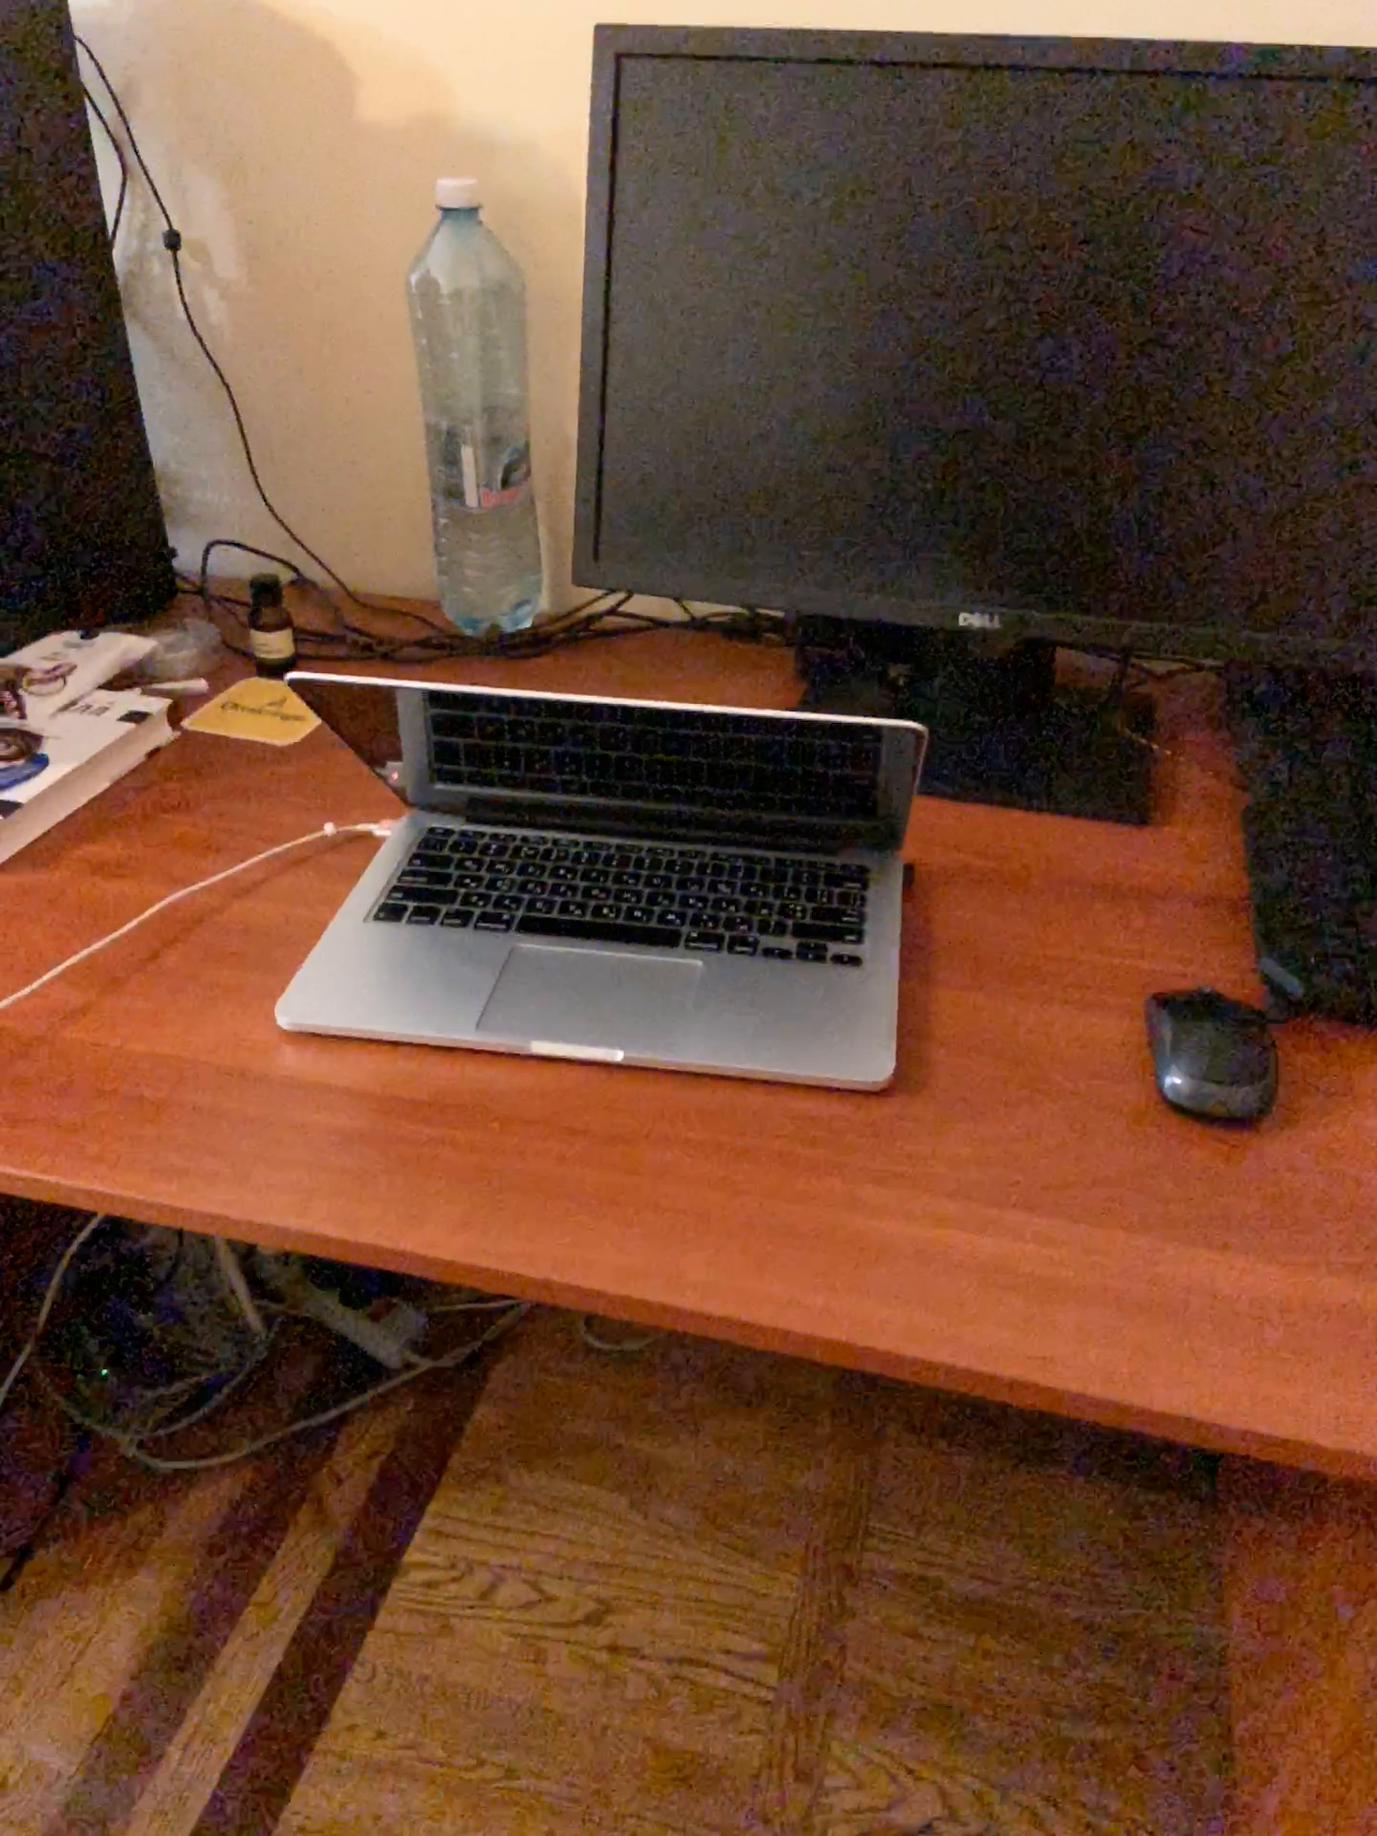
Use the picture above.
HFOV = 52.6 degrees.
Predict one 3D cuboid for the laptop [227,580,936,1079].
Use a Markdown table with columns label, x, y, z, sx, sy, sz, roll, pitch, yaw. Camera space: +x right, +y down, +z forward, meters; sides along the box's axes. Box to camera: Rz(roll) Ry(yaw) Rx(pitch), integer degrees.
| label | x | y | z | sx | sy | sz | roll | pitch | yaw |
| --- | --- | --- | --- | --- | --- | --- | --- | --- | --- |
| laptop | -0.037 | -0.056 | 0.714 | 0.306 | 0.148 | 0.205 | 5 | 34 | 7 |
